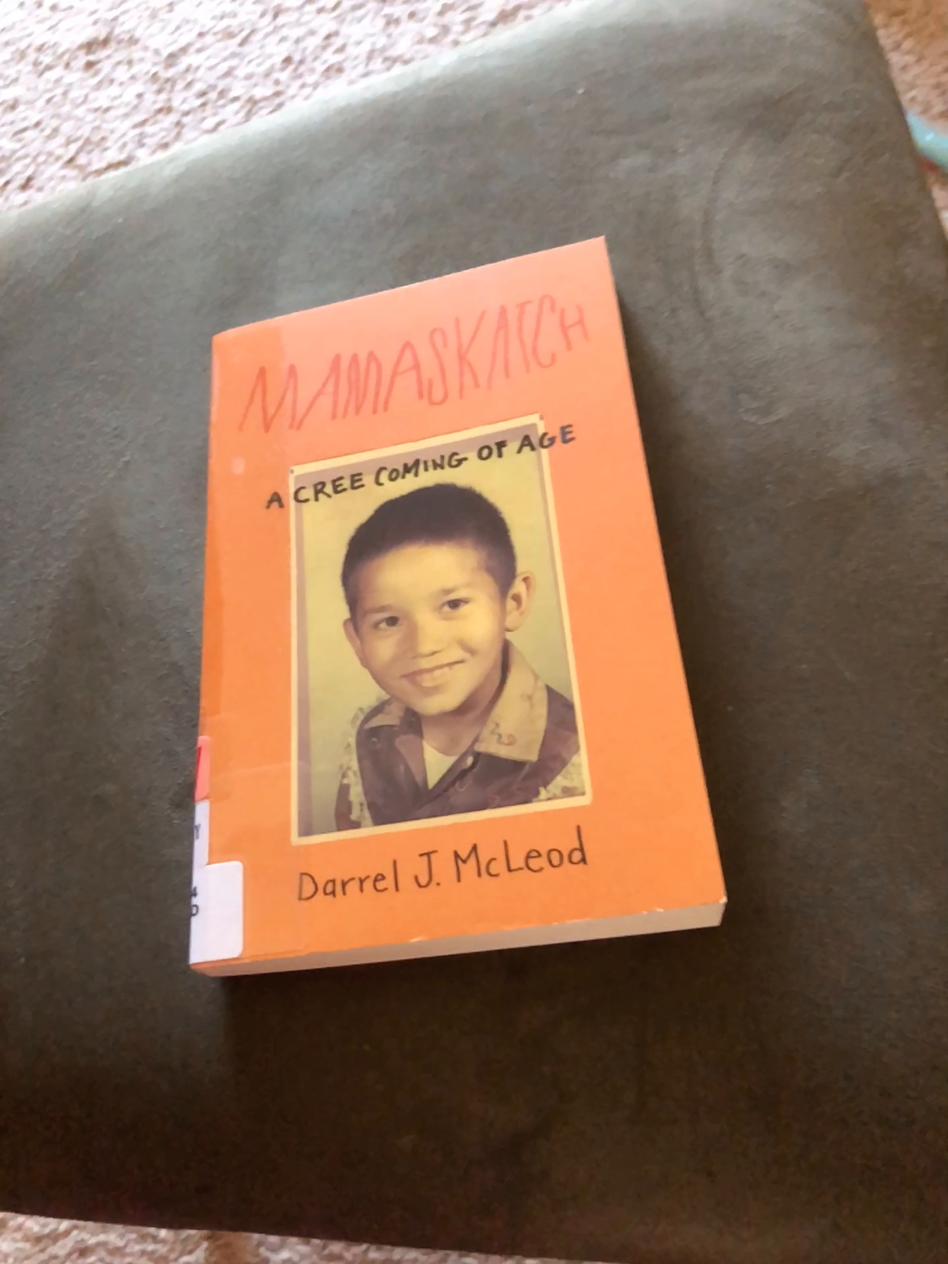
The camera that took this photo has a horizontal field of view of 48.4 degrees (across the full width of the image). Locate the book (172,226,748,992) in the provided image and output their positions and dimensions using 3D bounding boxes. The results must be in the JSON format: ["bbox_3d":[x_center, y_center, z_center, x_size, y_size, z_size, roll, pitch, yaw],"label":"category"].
[{"bbox_3d":[-0.012,-0.012,0.328,0.150,0.040,0.218,-10,65,11],"label":"book"}]
